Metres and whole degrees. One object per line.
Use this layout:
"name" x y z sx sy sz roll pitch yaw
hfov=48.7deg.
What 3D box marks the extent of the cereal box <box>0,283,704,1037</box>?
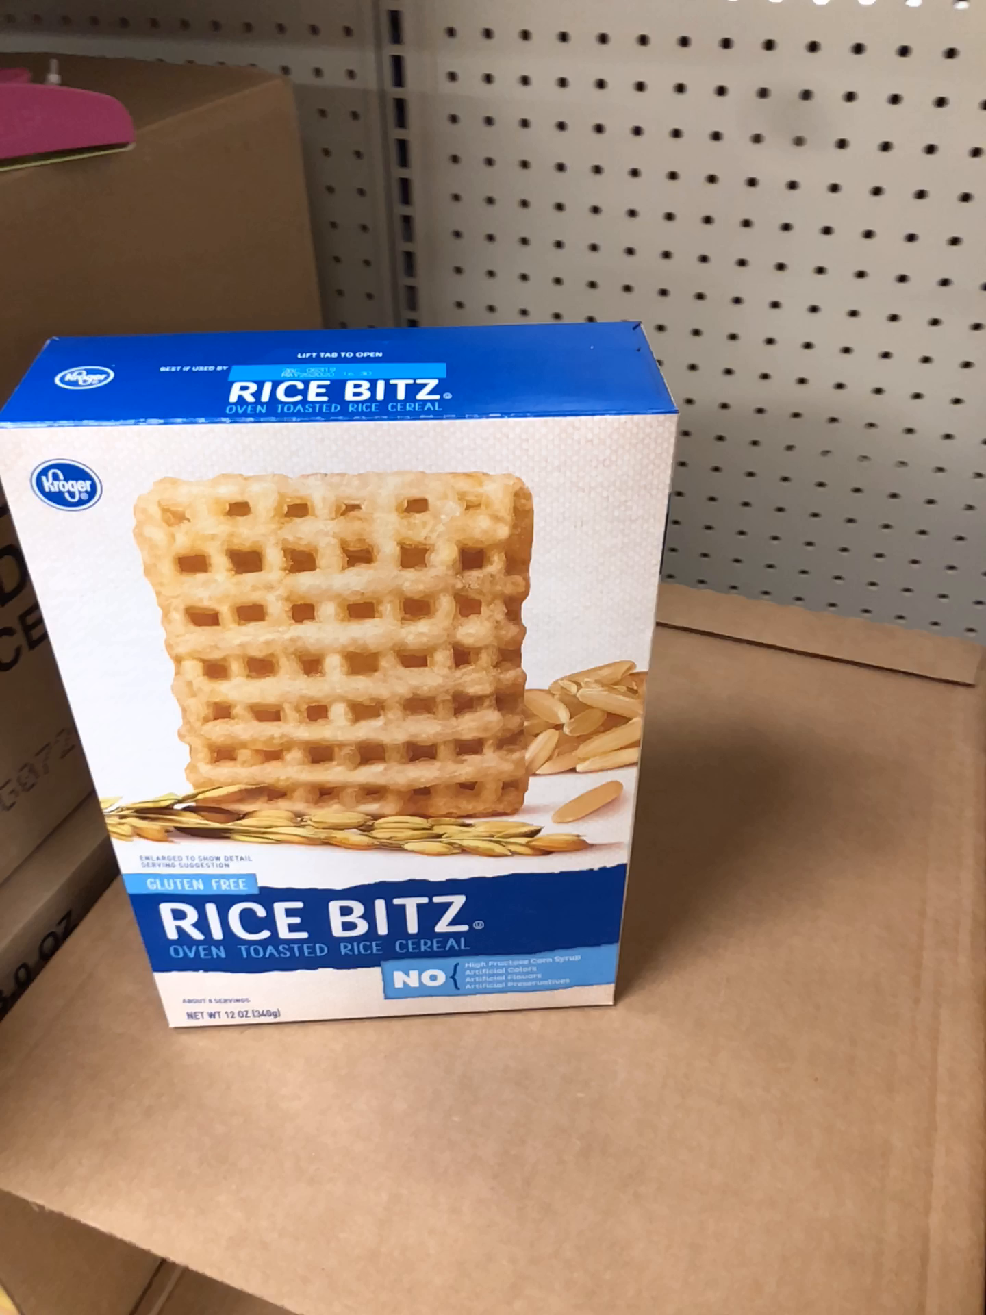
"cereal box" -0.043 0.021 0.405 0.200 0.289 0.070 -2 38 -2
